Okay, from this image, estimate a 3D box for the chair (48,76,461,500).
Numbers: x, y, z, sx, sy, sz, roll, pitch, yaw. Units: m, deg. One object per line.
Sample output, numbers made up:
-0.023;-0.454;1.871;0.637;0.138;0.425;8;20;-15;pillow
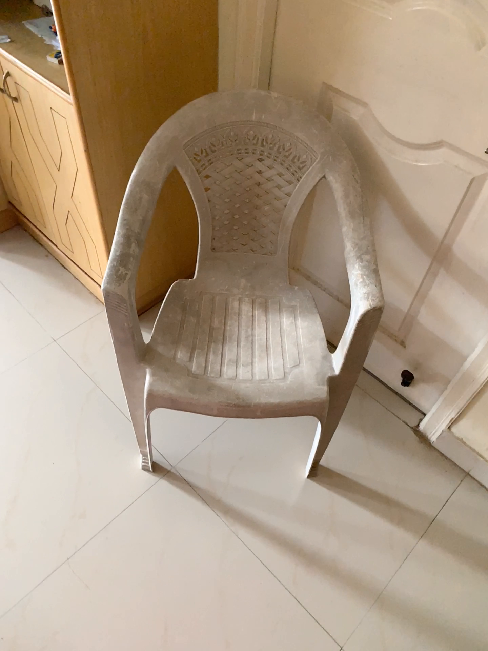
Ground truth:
0.017;-0.063;1.228;0.610;0.725;0.675;6;51;0;chair
